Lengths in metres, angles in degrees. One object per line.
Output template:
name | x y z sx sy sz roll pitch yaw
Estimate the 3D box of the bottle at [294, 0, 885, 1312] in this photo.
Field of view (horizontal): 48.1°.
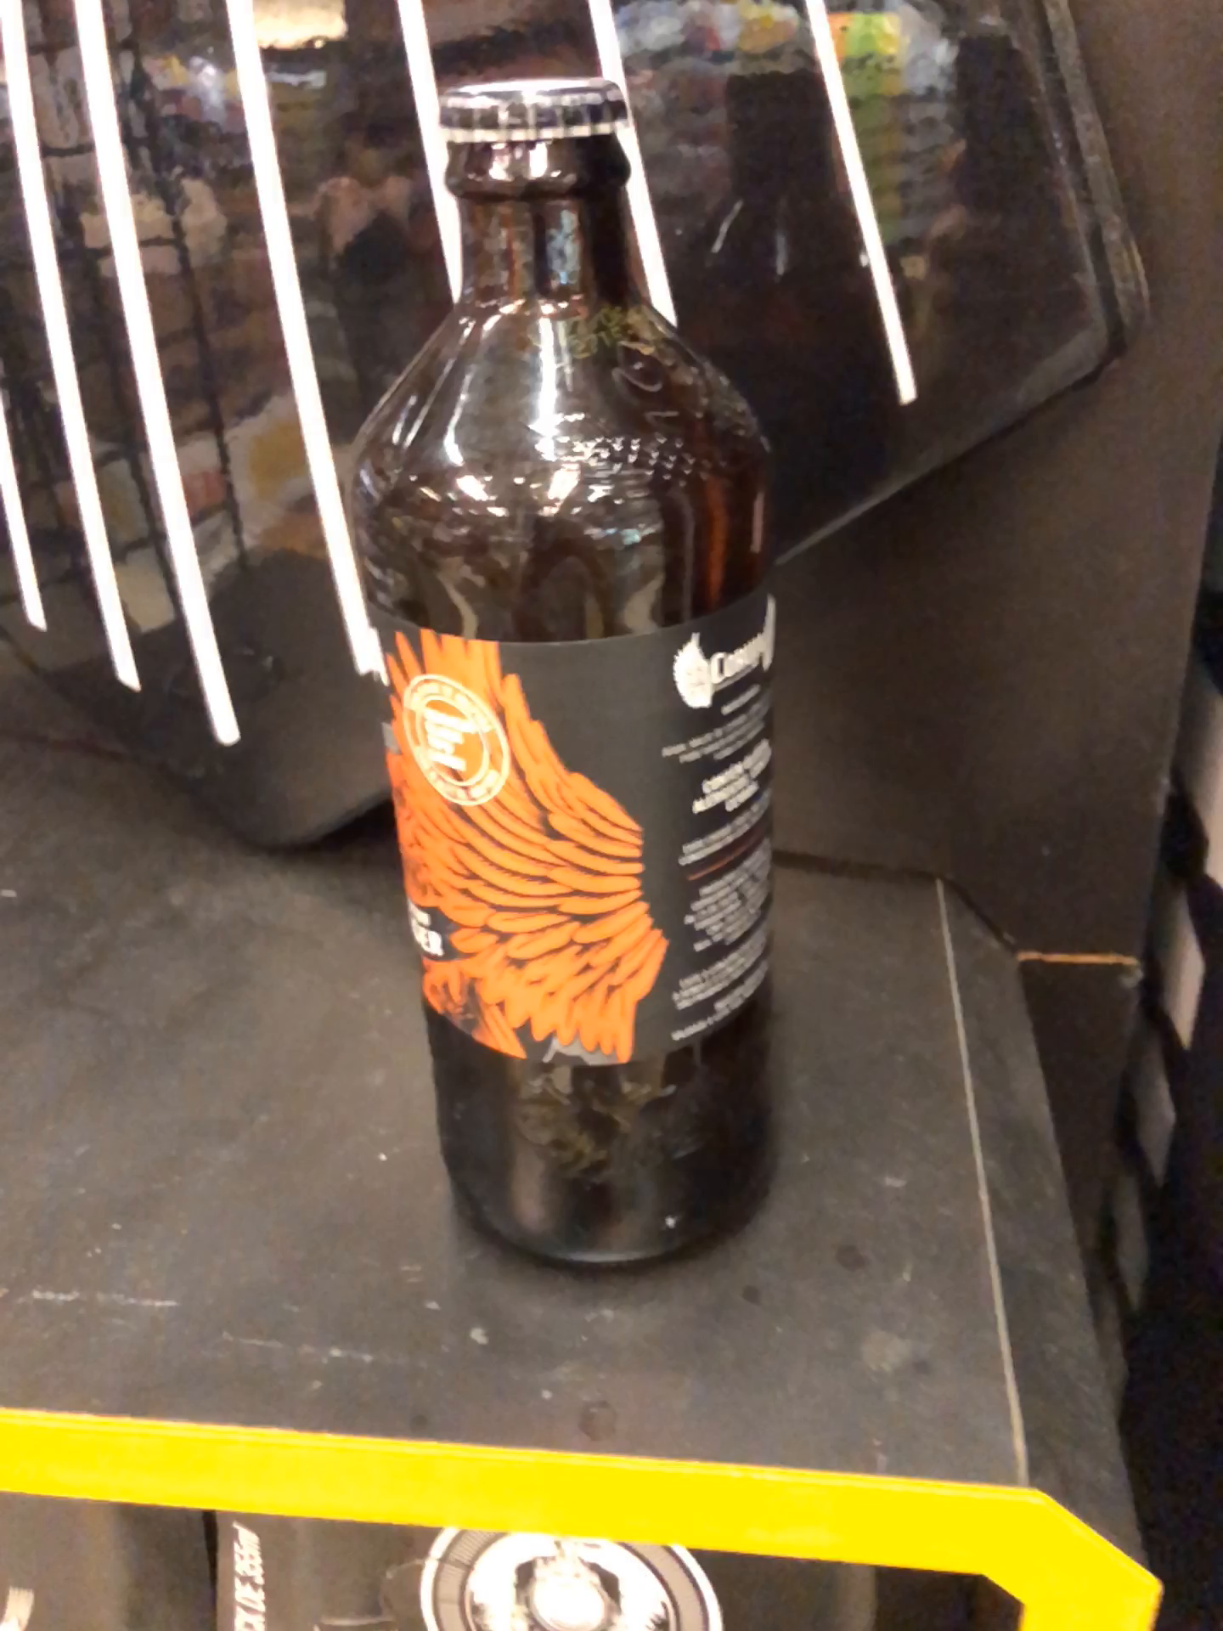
bottle | -0.003 -0.021 0.253 0.070 0.218 0.070 -2 28 1
